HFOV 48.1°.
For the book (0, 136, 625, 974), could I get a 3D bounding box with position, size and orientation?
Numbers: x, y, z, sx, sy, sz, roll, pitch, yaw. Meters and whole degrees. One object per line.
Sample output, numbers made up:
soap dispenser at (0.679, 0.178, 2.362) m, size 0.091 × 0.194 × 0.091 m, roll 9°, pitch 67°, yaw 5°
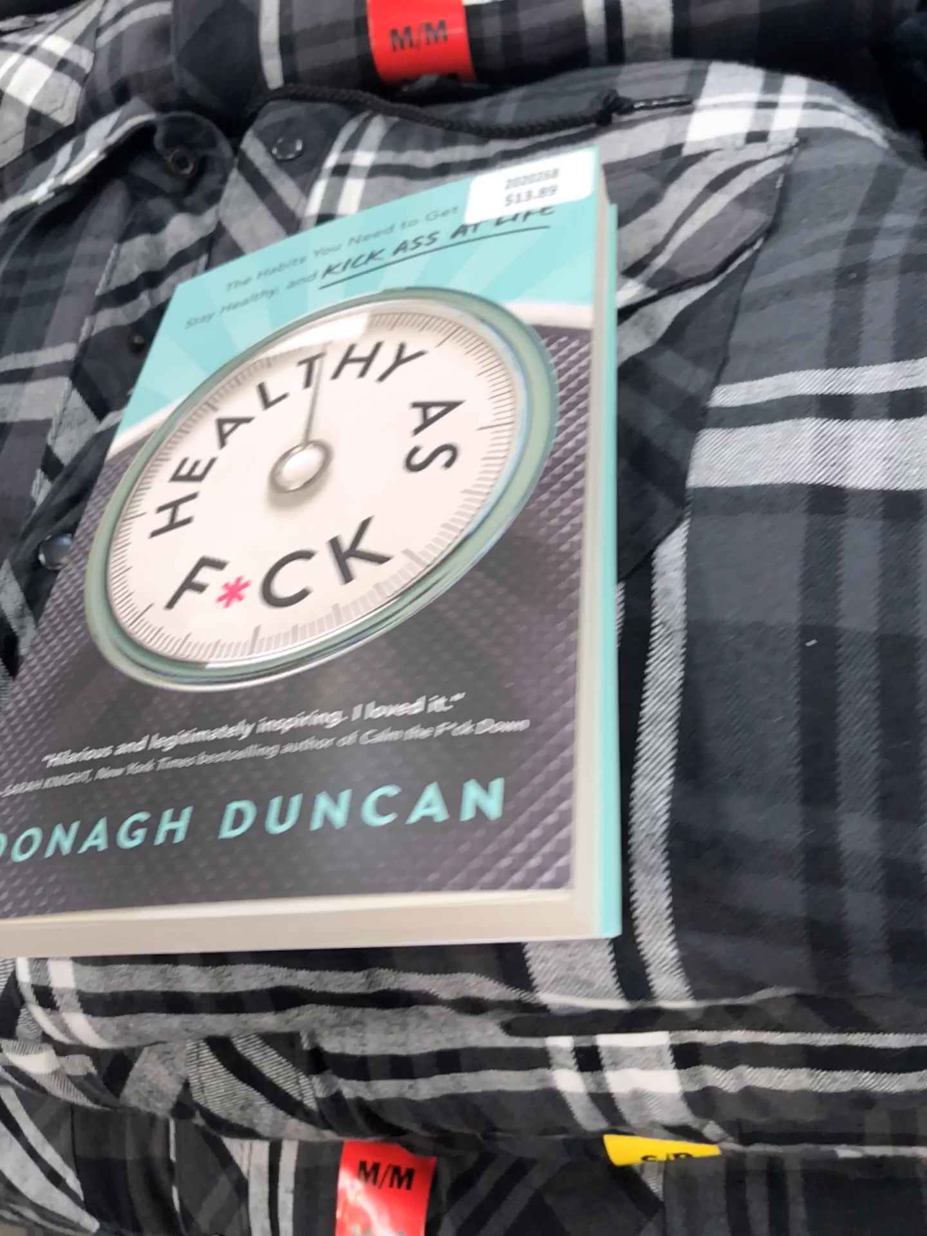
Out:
book at (-0.038, -0.031, 0.275) m, size 0.157 × 0.028 × 0.238 m, roll -8°, pitch 51°, yaw 19°
